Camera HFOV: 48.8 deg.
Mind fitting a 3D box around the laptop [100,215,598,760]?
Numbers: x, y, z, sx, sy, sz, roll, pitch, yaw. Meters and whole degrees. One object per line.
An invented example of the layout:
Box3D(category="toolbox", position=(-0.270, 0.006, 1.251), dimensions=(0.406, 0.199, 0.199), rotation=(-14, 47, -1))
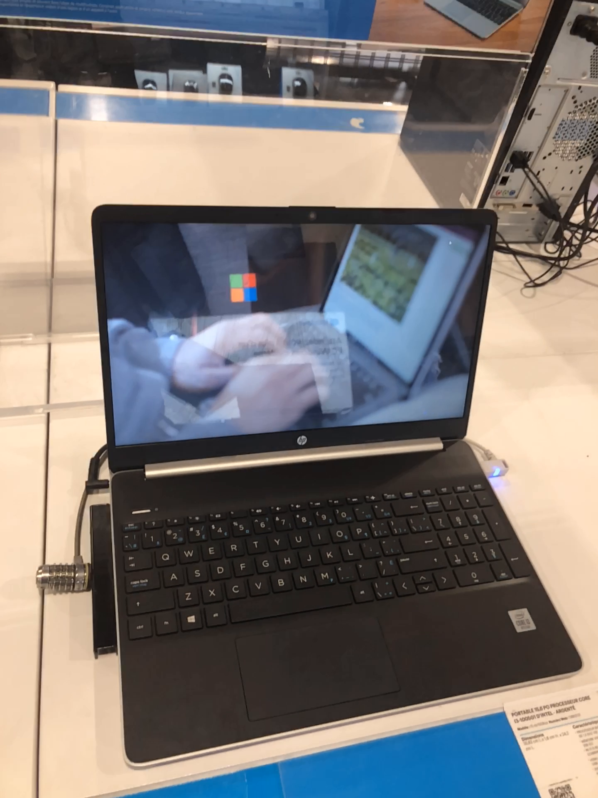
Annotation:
Box3D(category="laptop", position=(0.035, 0.033, 0.517), dimensions=(0.346, 0.196, 0.335), rotation=(-4, 47, -16))
